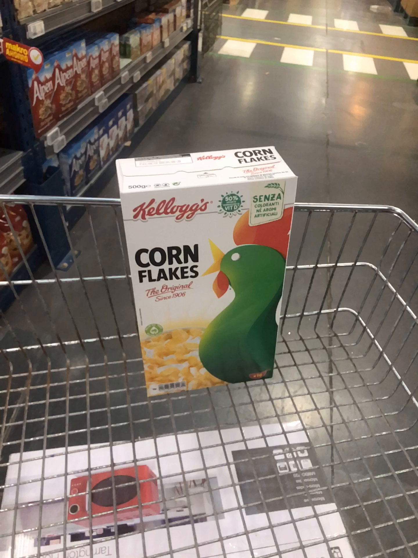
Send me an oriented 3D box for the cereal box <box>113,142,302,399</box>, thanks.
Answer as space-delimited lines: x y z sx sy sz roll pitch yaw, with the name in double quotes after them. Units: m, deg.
-0.007 0.004 0.606 0.190 0.328 0.090 -7 40 -9 "cereal box"
